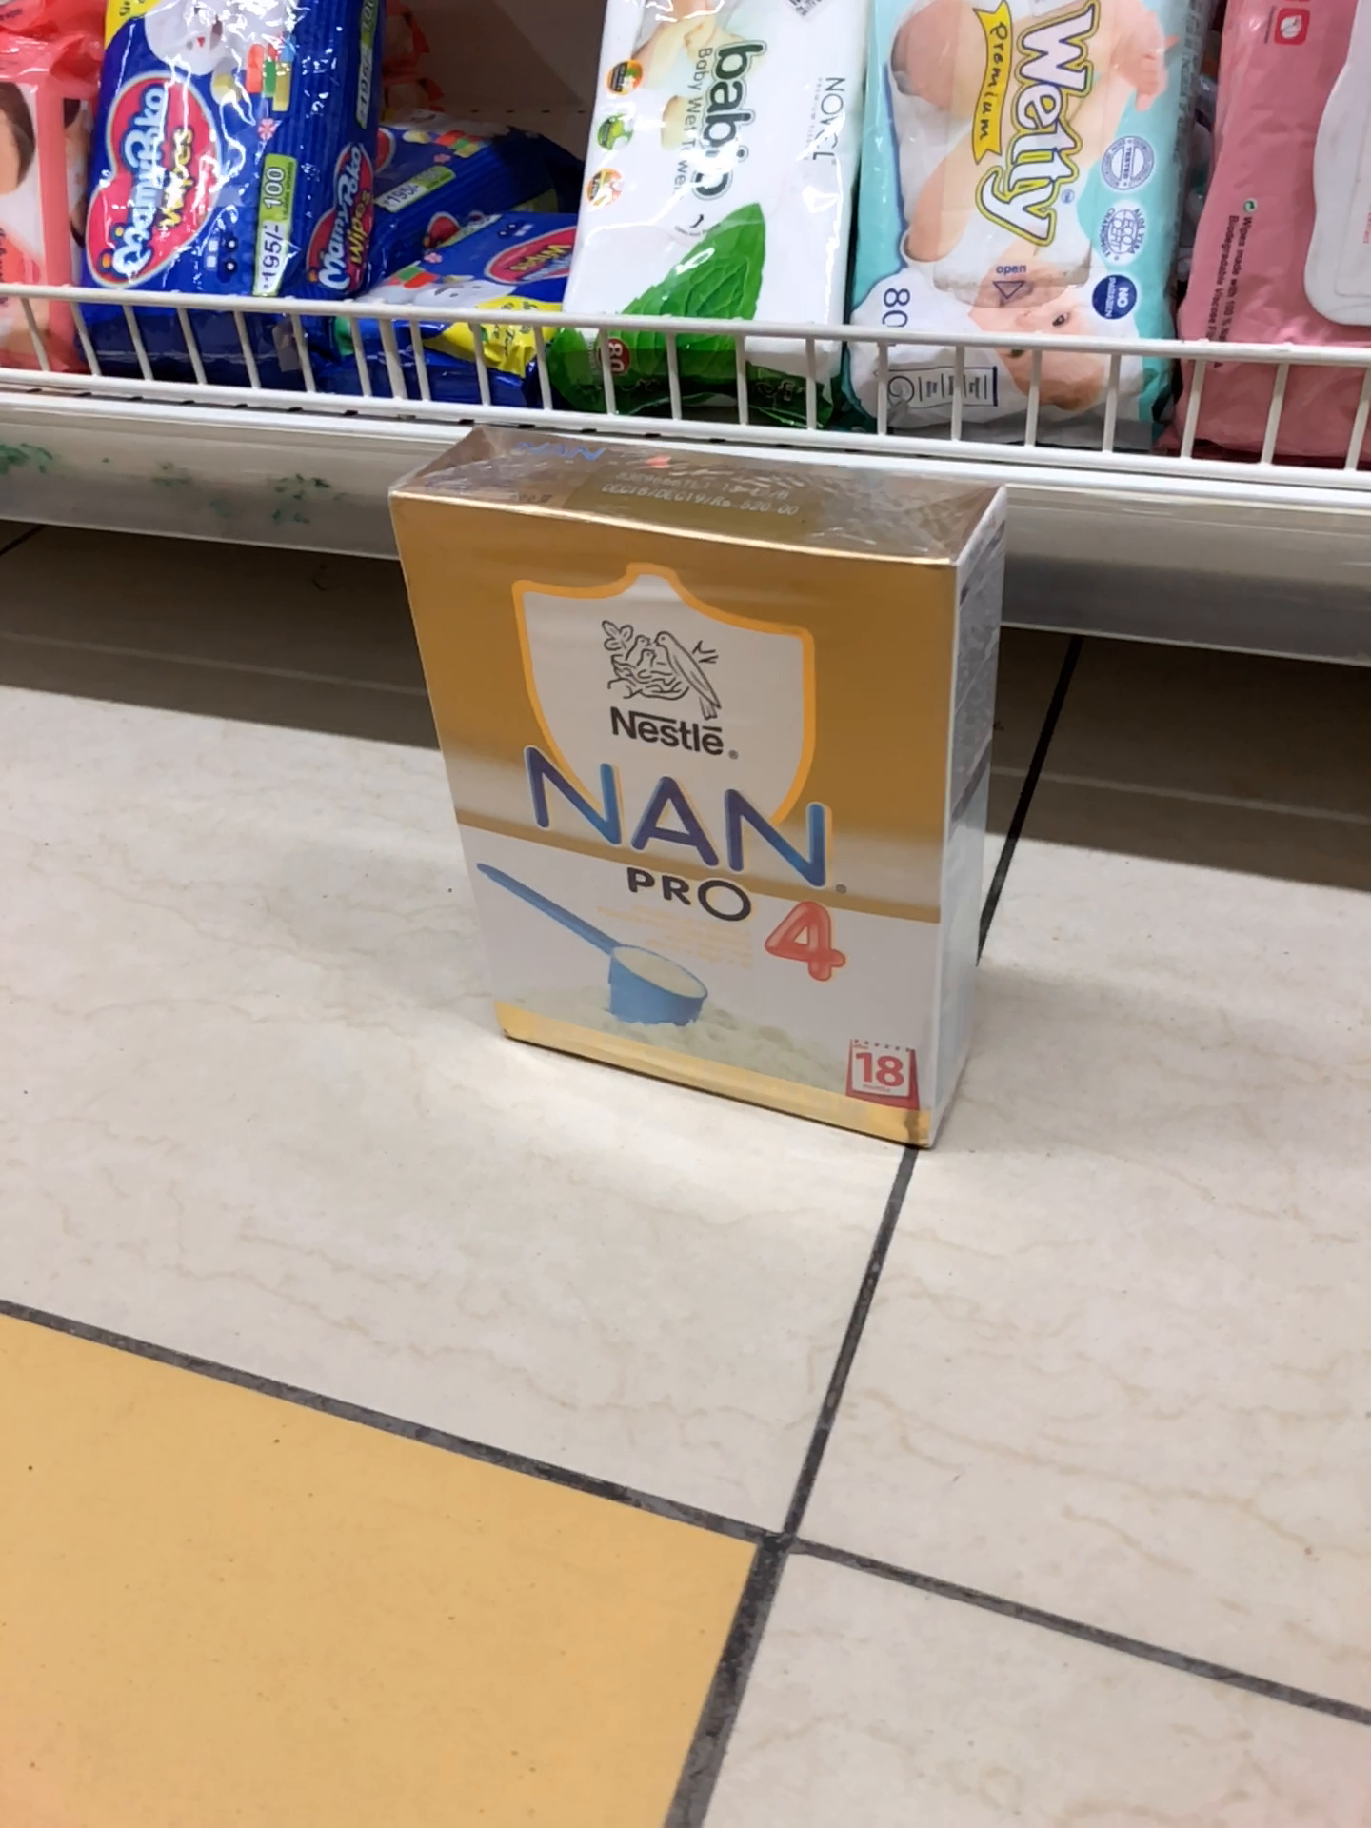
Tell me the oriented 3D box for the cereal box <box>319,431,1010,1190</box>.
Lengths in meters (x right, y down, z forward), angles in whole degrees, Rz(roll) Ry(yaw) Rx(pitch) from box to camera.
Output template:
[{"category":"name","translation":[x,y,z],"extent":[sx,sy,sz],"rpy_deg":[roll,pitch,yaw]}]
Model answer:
[{"category":"cereal box","translation":[-0.002,-0.026,0.423],"extent":[0.160,0.189,0.050],"rpy_deg":[12,41,20]}]
